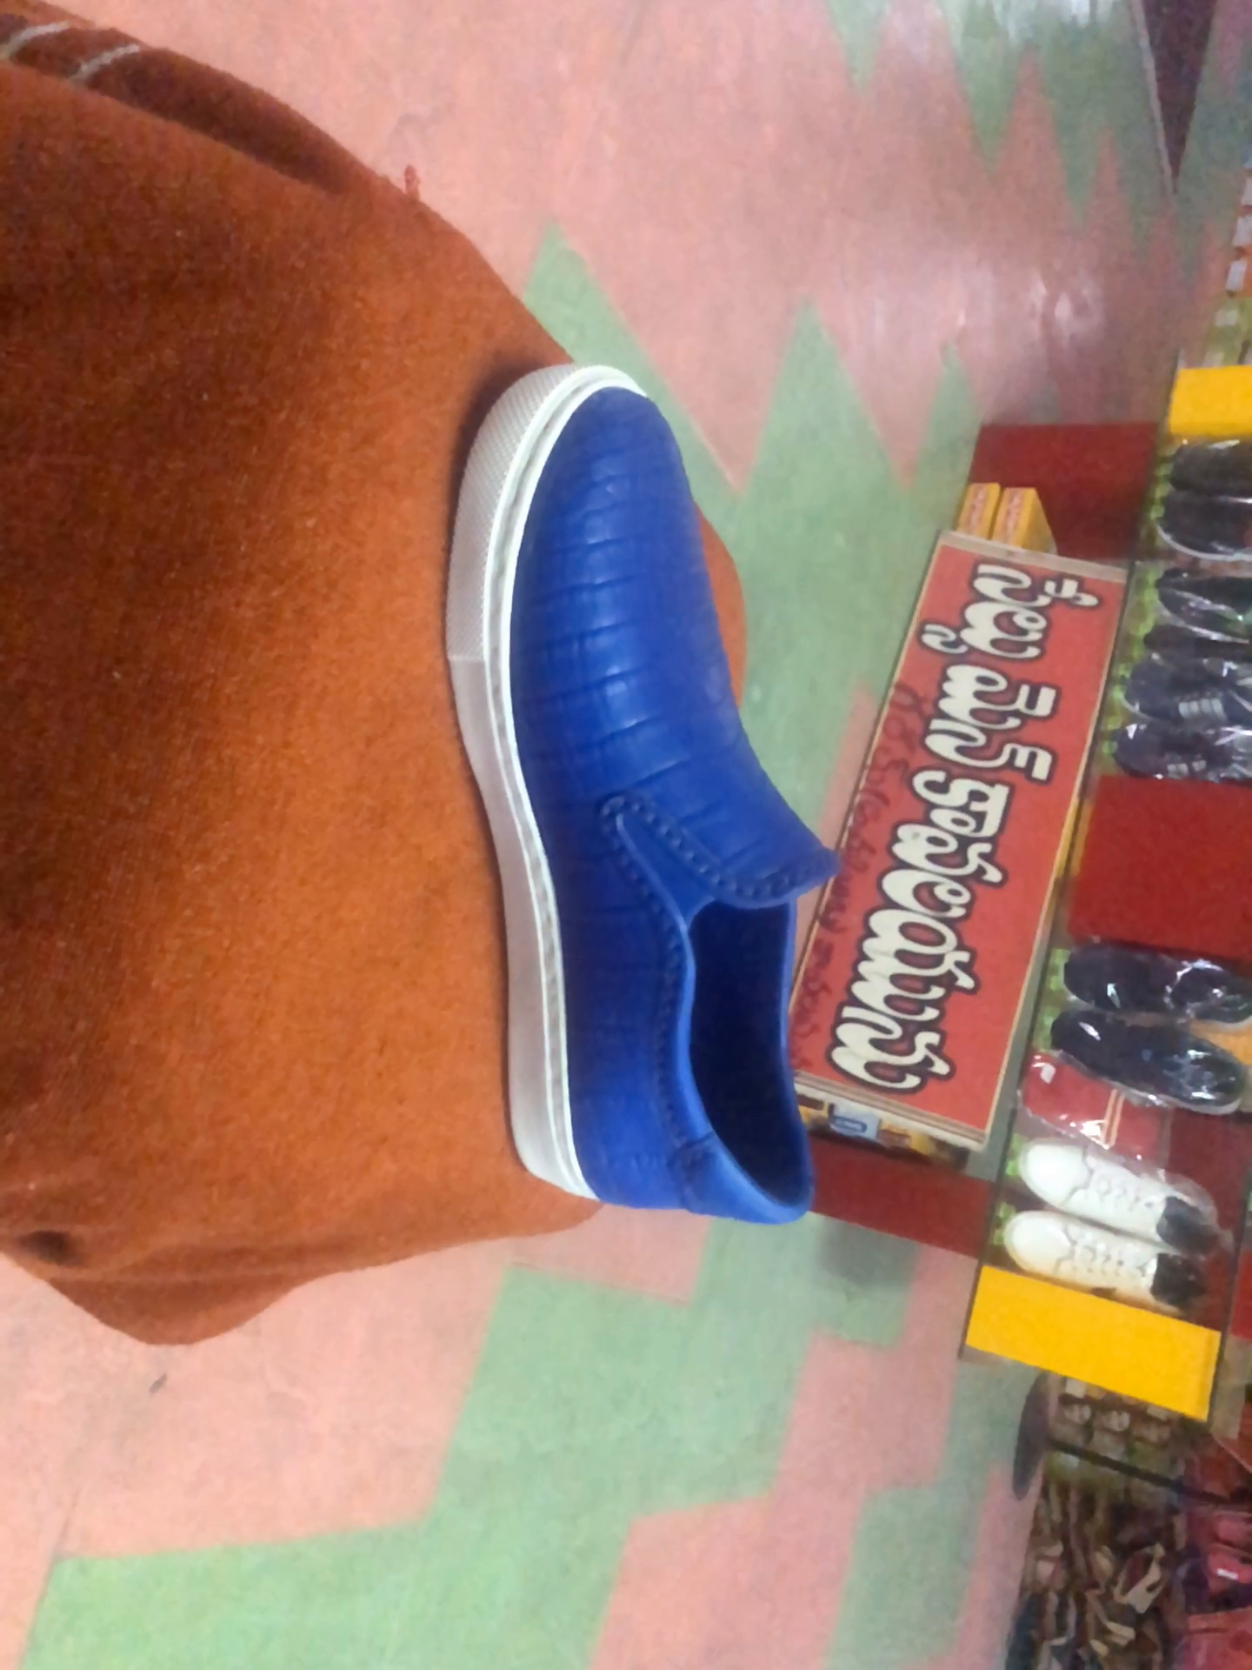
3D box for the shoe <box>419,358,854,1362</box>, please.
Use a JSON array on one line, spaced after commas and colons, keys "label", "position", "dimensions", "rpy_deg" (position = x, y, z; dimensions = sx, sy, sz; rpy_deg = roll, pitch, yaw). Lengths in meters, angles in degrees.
[{"label": "shoe", "position": [0.014, 0.004, 0.456], "dimensions": [0.111, 0.079, 0.300], "rpy_deg": [-29, 121, -53]}]
